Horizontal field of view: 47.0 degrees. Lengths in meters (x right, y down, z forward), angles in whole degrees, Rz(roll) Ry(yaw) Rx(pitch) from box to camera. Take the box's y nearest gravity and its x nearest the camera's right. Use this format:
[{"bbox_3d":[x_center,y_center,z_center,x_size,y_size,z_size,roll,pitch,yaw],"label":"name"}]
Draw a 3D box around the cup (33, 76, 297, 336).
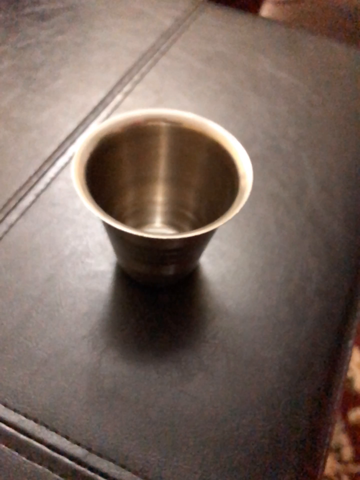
[{"bbox_3d":[-0.005,-0.016,0.176,0.067,0.052,0.074,2,55,-3],"label":"cup"}]
